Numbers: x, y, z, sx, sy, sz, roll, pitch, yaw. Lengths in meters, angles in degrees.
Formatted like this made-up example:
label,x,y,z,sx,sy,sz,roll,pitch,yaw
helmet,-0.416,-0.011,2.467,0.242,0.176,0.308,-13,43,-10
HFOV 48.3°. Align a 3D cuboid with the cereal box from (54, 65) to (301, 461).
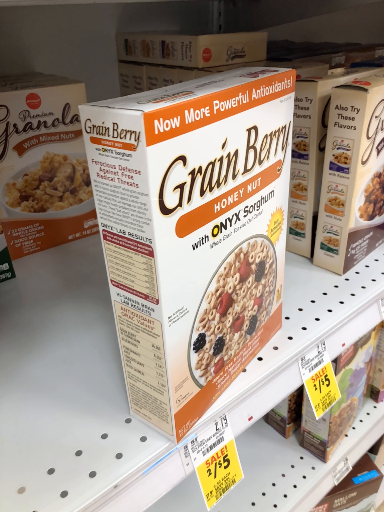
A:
label,x,y,z,sx,sy,sz,roll,pitch,yaw
cereal box,0.009,-0.001,0.384,0.070,0.289,0.200,19,36,33
